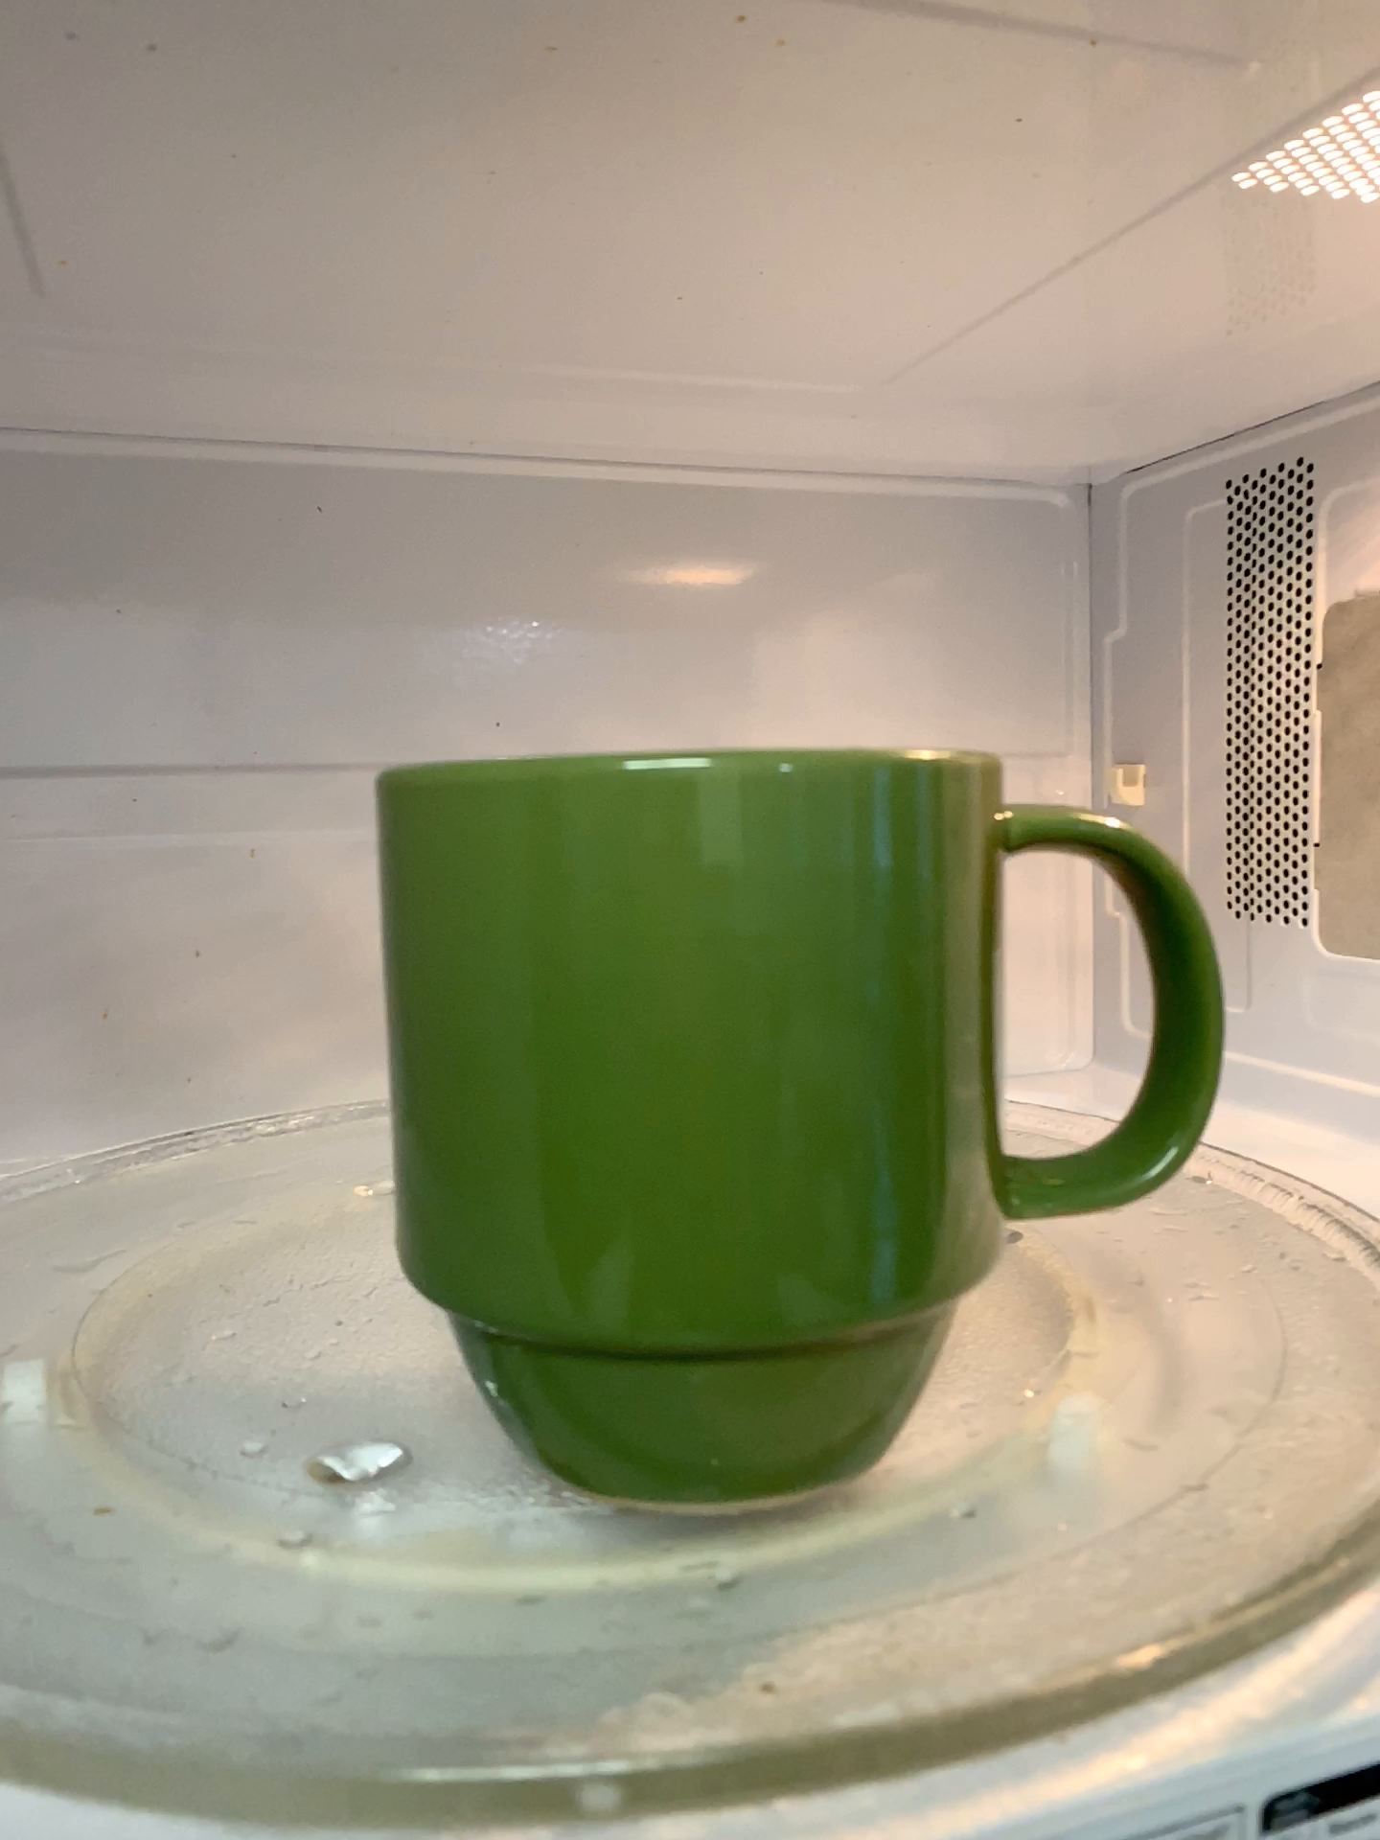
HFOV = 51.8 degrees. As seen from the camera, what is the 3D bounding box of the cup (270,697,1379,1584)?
[{"bbox_3d":[0.018,0.019,0.193,0.130,0.090,0.080,-2,4,-8],"label":"cup"}]
